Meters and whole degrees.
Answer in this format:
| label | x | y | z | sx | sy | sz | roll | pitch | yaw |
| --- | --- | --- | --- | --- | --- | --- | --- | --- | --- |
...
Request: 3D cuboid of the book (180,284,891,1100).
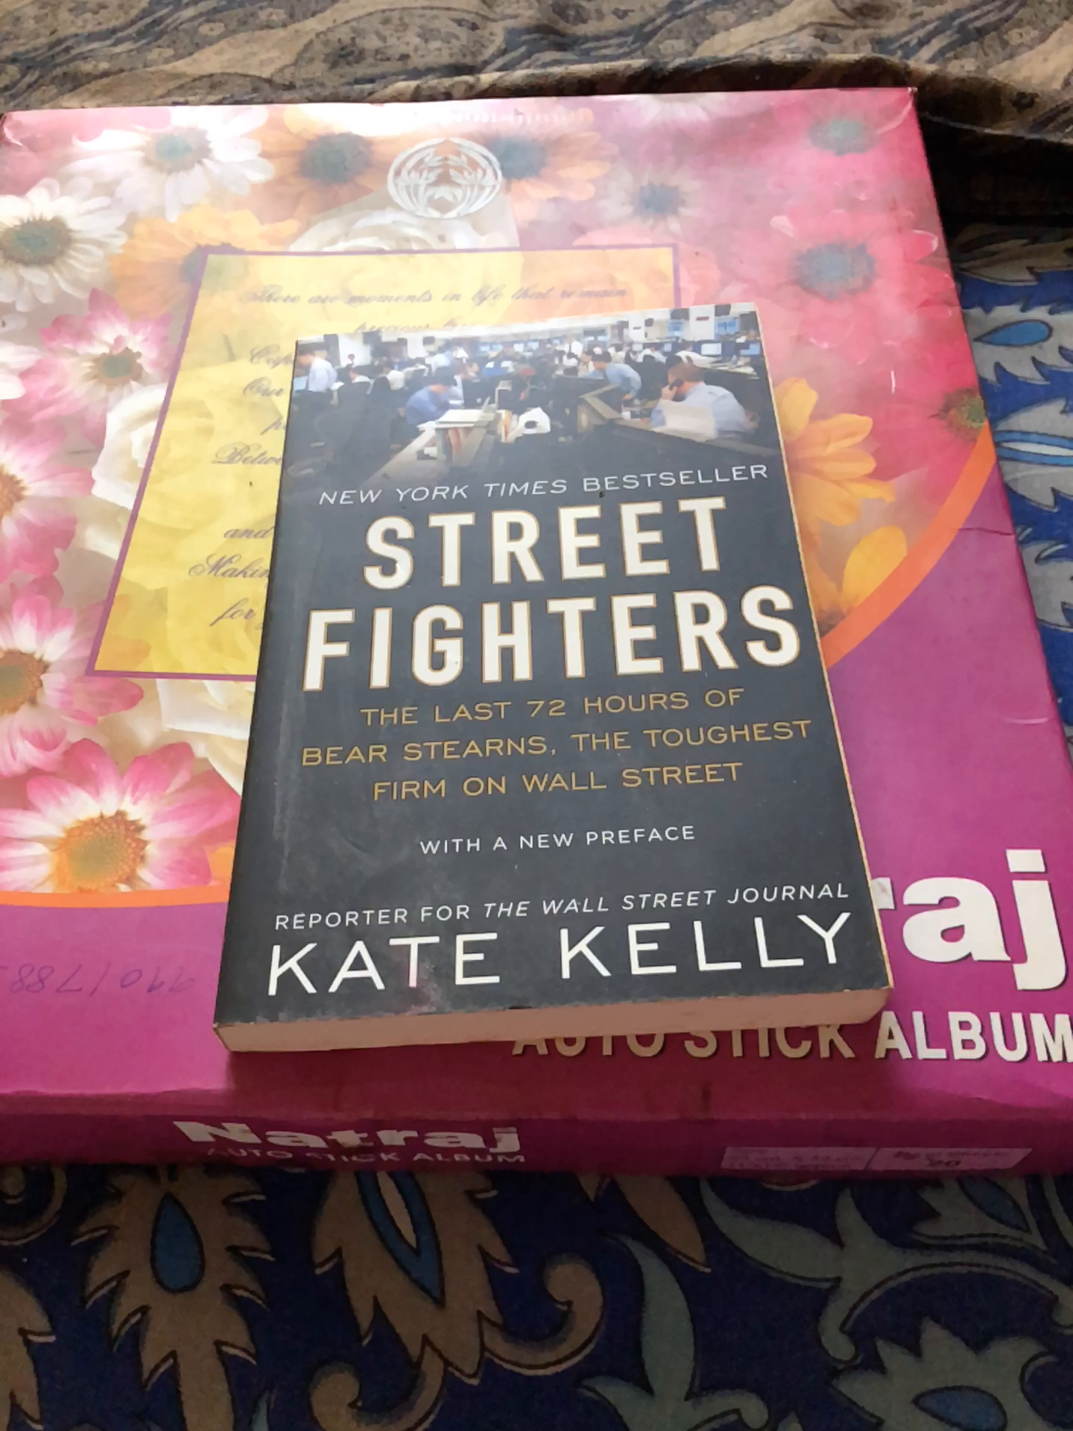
| label | x | y | z | sx | sy | sz | roll | pitch | yaw |
| --- | --- | --- | --- | --- | --- | --- | --- | --- | --- |
| book | -0.003 | -0.018 | 0.302 | 0.140 | 0.030 | 0.210 | -5 | 58 | 5 |
